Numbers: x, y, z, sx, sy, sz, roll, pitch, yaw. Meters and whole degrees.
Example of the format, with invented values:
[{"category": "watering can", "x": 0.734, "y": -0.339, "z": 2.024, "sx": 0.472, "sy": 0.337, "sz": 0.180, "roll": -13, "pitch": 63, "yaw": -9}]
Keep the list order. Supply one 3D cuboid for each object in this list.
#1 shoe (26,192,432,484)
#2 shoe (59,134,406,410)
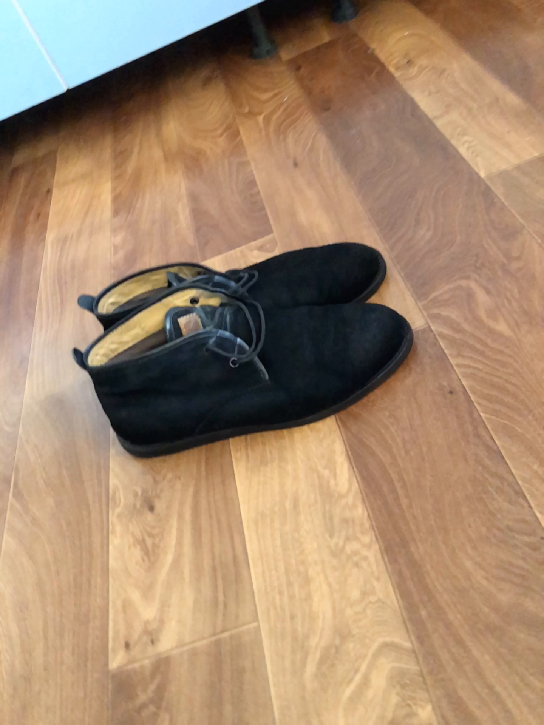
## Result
[{"category": "shoe", "x": -0.032, "y": -0.013, "z": 0.504, "sx": 0.290, "sy": 0.129, "sz": 0.111, "roll": -17, "pitch": 46, "yaw": 9}, {"category": "shoe", "x": -0.037, "y": -0.083, "z": 0.579, "sx": 0.290, "sy": 0.129, "sz": 0.111, "roll": -21, "pitch": 46, "yaw": 6}]
